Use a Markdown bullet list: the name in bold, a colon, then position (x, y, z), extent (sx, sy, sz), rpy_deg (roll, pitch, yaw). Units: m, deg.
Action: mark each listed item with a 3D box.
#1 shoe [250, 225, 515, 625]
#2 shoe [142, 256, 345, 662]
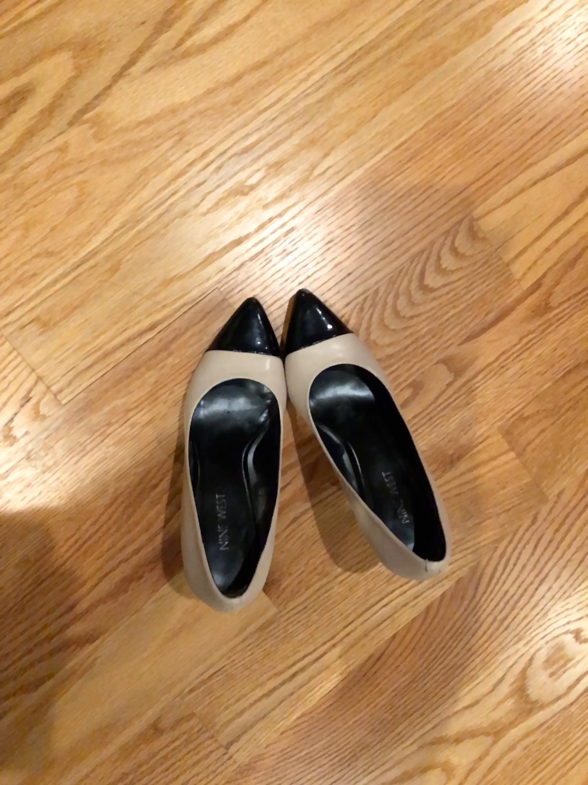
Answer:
- **shoe**: position (0.054, 0.019, 0.473), extent (0.085, 0.139, 0.235), rpy_deg (-20, 96, -8)
- **shoe**: position (-0.041, 0.040, 0.458), extent (0.085, 0.139, 0.235), rpy_deg (9, 91, -10)
